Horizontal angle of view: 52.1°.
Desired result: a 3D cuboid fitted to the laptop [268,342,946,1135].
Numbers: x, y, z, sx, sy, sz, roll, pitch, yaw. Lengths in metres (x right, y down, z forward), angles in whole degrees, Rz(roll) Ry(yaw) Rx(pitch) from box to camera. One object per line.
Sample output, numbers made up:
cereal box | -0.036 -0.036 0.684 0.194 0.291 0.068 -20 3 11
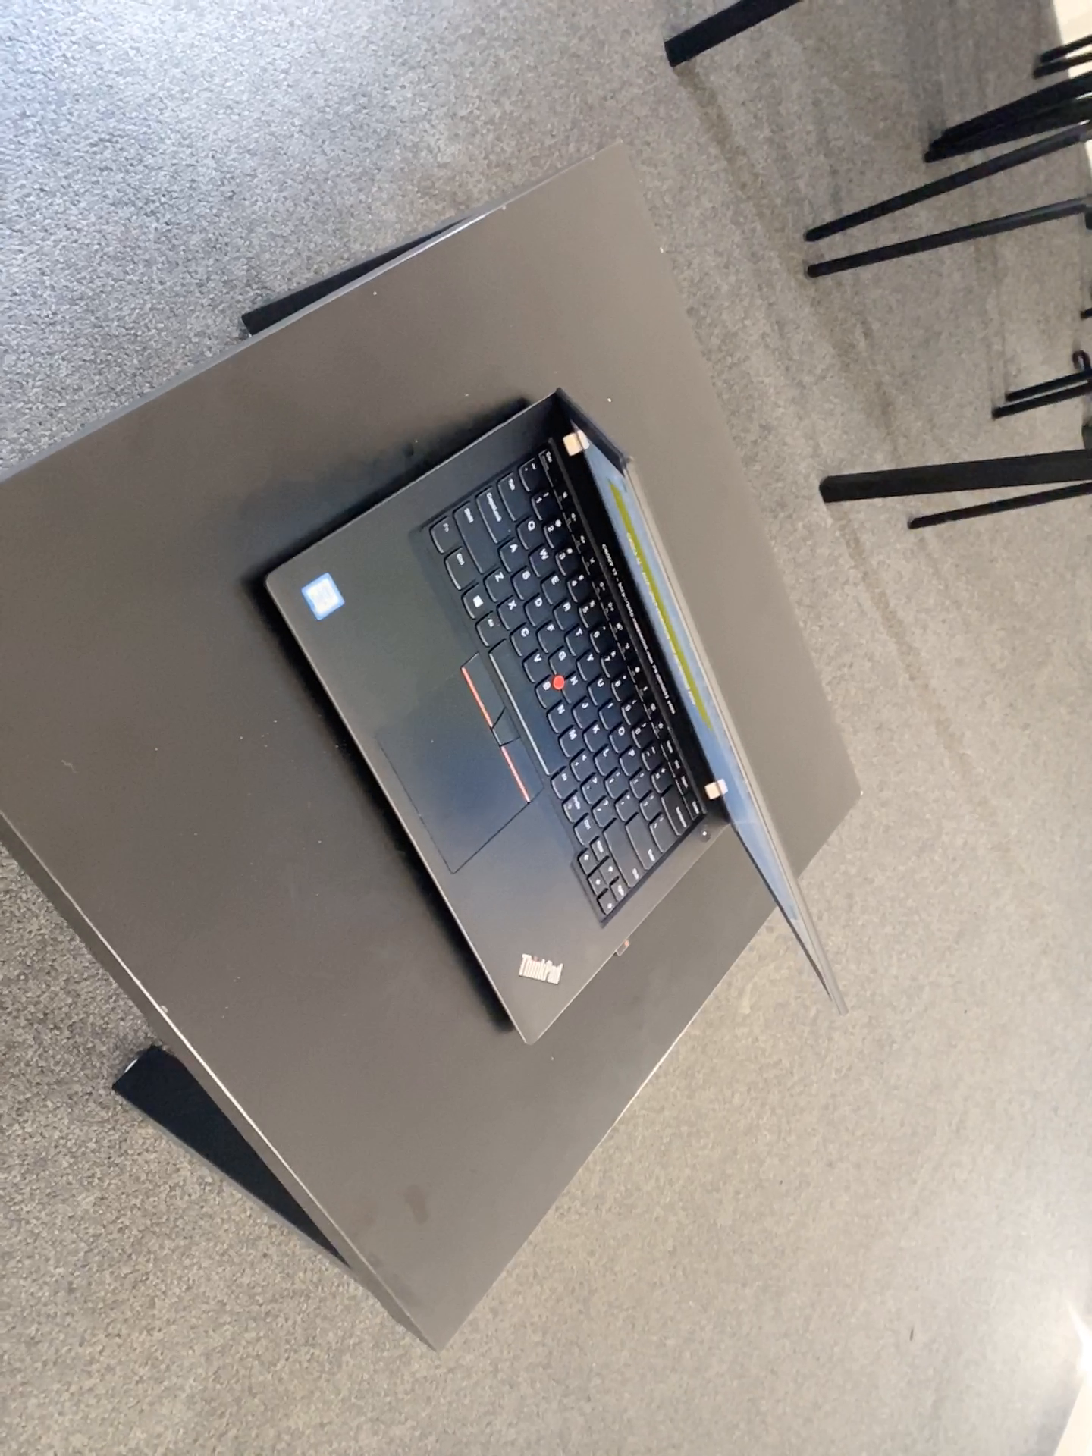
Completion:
laptop | 0.054 0.005 0.621 0.224 0.165 0.333 -42 120 -31
